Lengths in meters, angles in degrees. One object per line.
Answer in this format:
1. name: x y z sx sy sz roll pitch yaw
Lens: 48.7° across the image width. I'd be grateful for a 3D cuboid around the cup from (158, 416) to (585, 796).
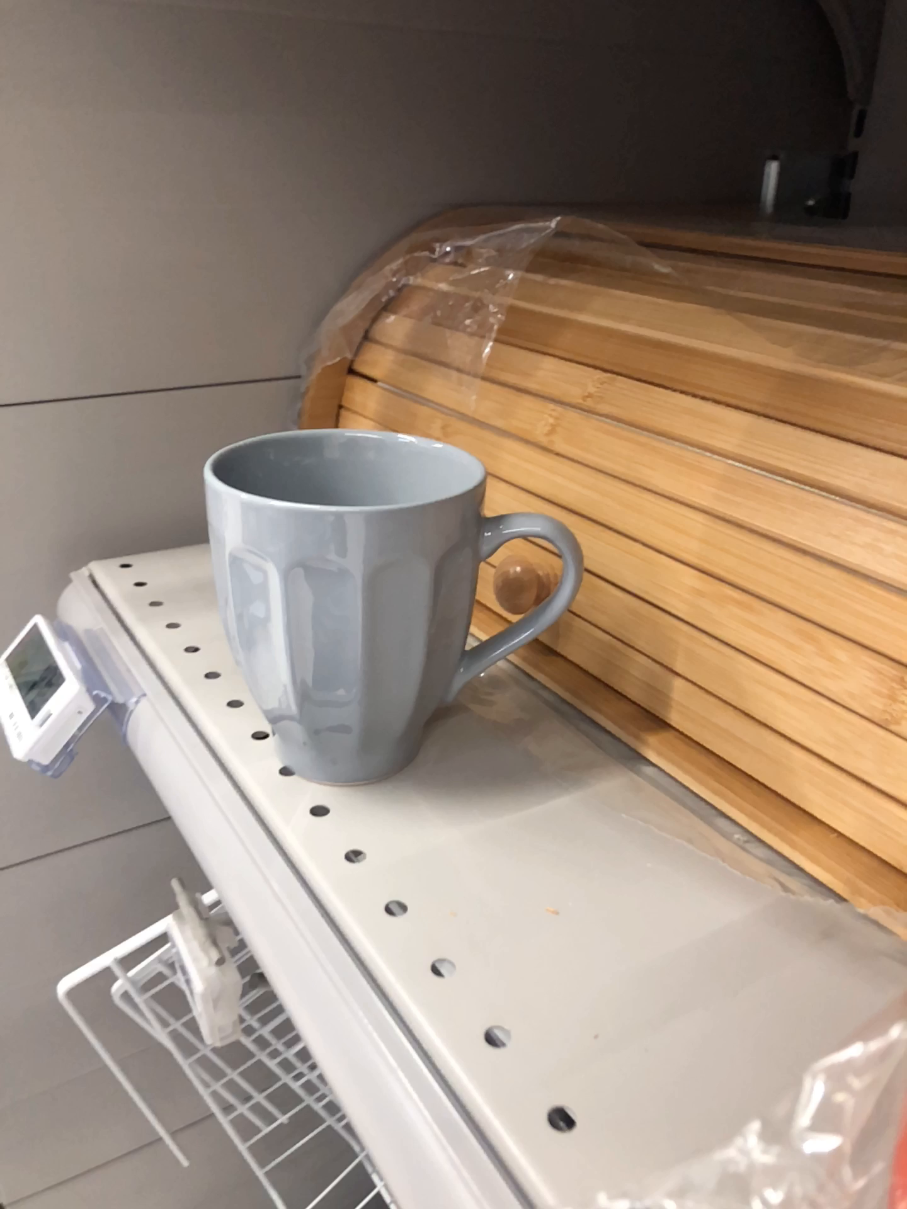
1. cup: -0.021 -0.005 0.332 0.116 0.091 0.093 2 24 2
